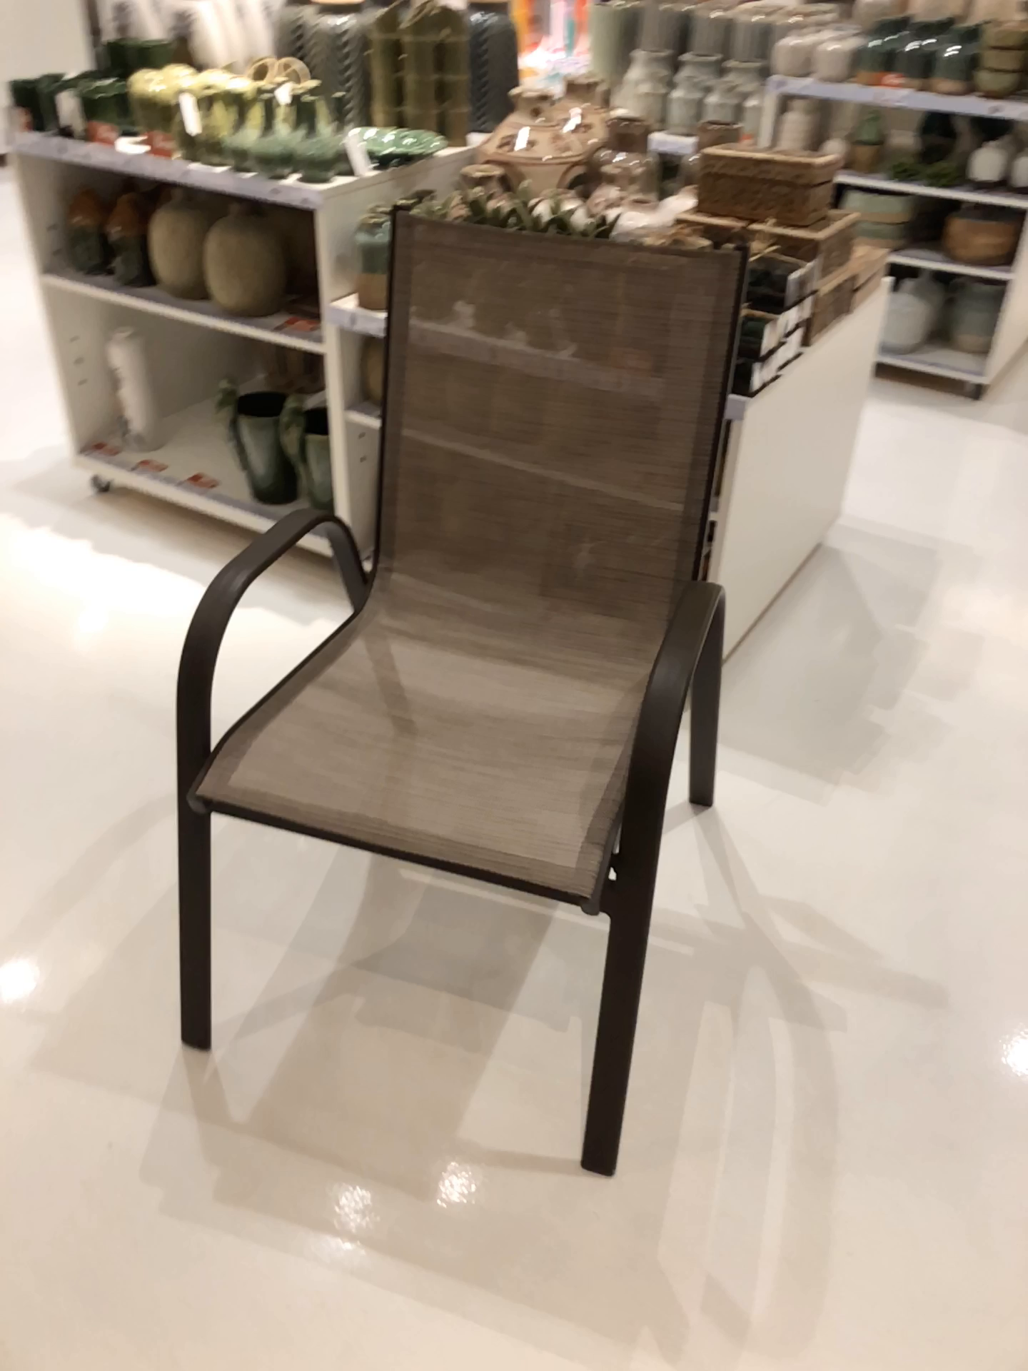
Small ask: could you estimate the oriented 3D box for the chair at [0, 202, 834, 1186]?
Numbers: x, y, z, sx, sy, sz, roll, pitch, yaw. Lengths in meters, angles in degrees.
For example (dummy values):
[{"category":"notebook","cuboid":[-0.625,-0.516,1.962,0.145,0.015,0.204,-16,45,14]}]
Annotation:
[{"category":"chair","cuboid":[-0.035,-0.043,1.323,0.600,0.793,0.706,12,36,14]}]
